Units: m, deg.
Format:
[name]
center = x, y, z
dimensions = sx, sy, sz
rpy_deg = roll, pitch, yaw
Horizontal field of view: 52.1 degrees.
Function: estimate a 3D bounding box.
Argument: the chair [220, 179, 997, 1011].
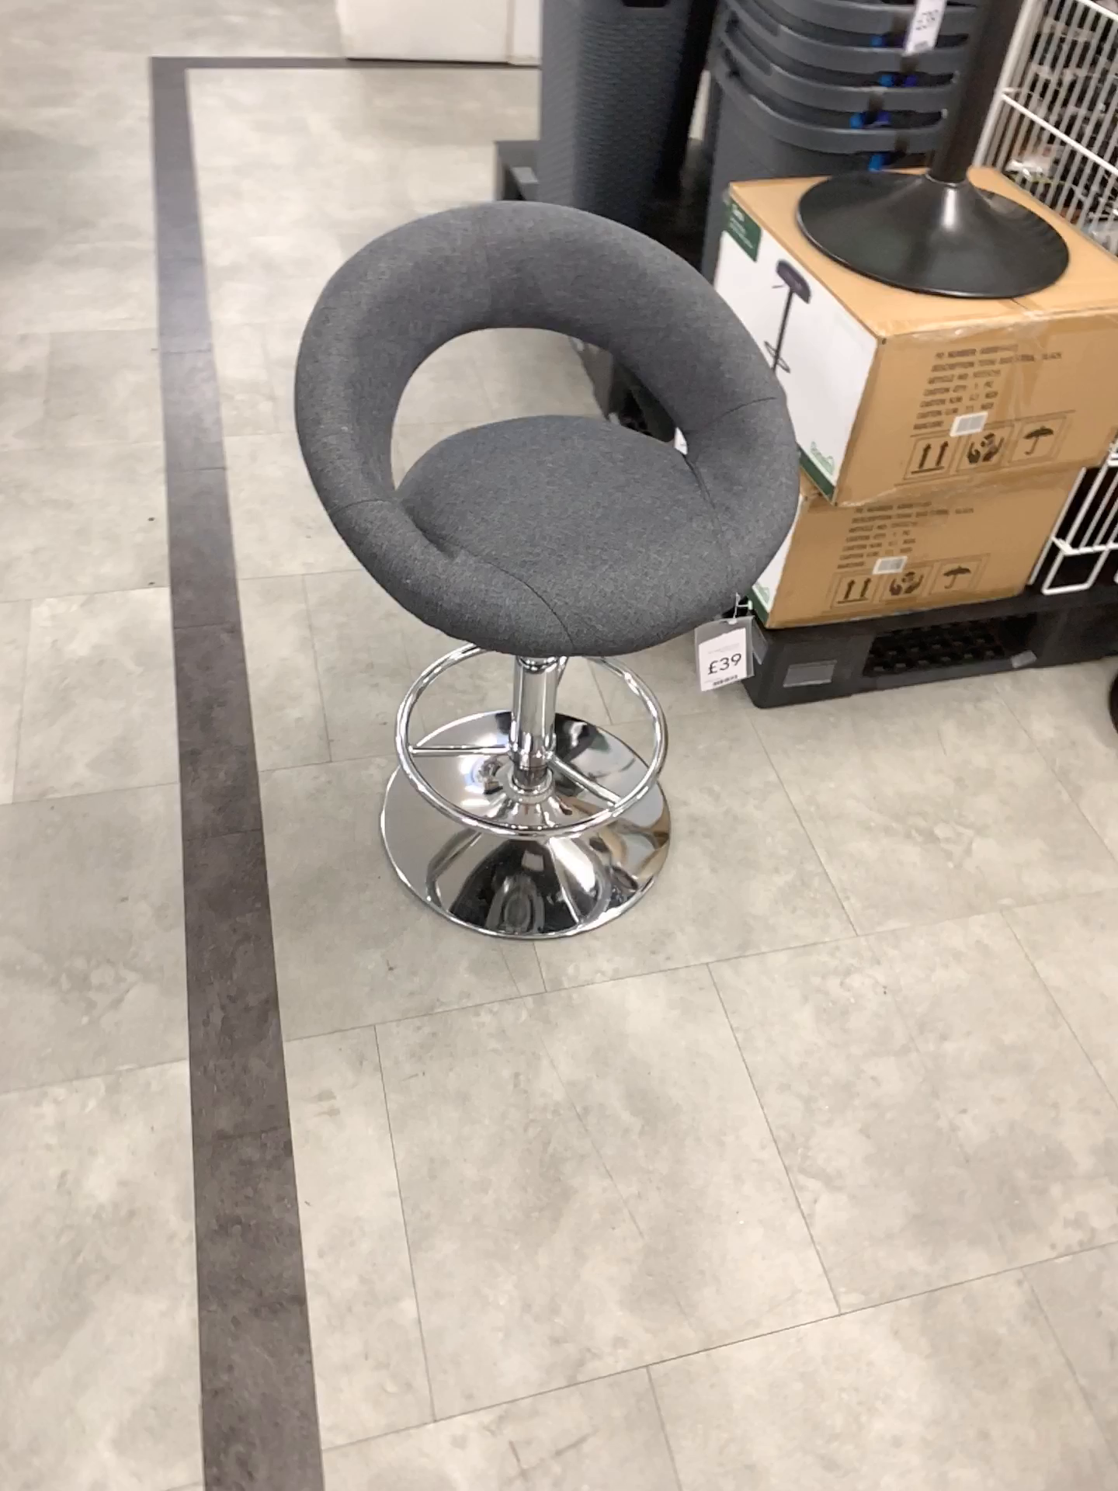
[chair]
center = -0.009, -0.191, 1.365
dimensions = 0.573, 0.664, 0.597
rpy_deg = -14, 50, -19
